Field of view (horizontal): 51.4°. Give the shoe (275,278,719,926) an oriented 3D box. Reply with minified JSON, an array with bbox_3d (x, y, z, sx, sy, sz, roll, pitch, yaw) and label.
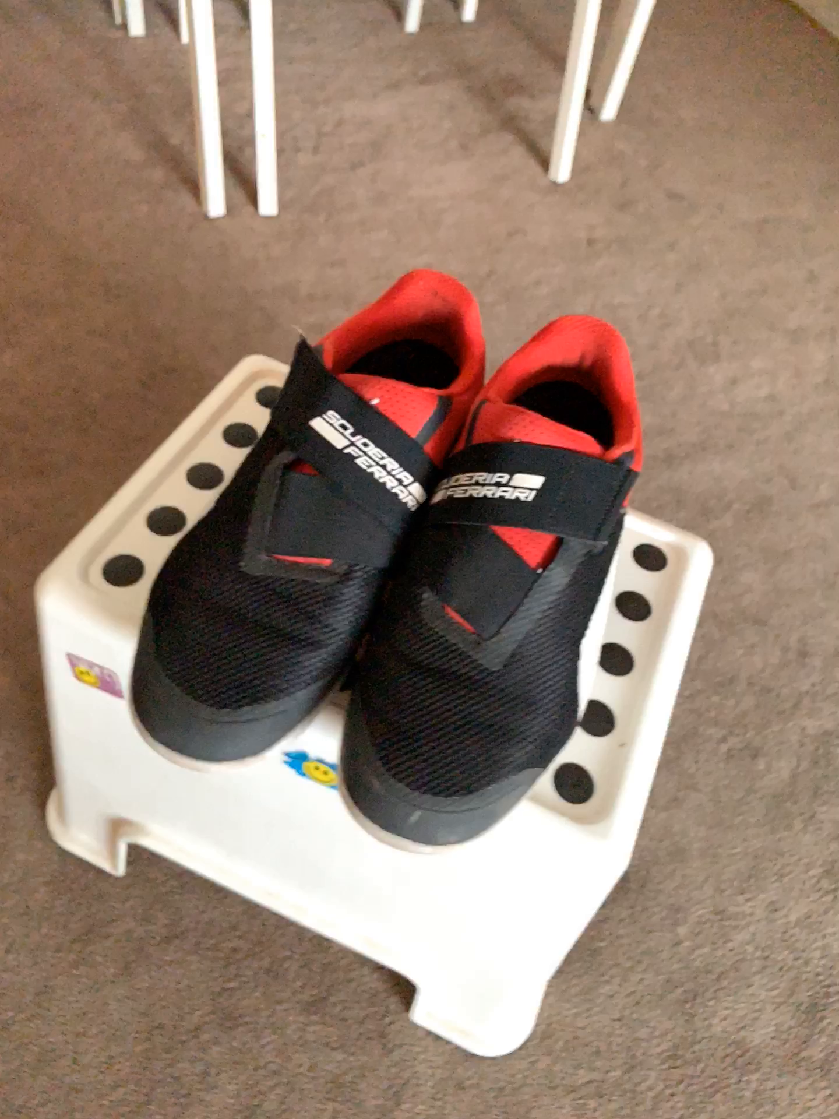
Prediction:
[{"bbox_3d":[0.050,0.000,0.432,0.110,0.099,0.302,23,53,6],"label":"shoe"}]

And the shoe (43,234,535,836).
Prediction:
[{"bbox_3d":[-0.045,-0.032,0.446,0.100,0.099,0.302,23,53,6],"label":"shoe"}]
